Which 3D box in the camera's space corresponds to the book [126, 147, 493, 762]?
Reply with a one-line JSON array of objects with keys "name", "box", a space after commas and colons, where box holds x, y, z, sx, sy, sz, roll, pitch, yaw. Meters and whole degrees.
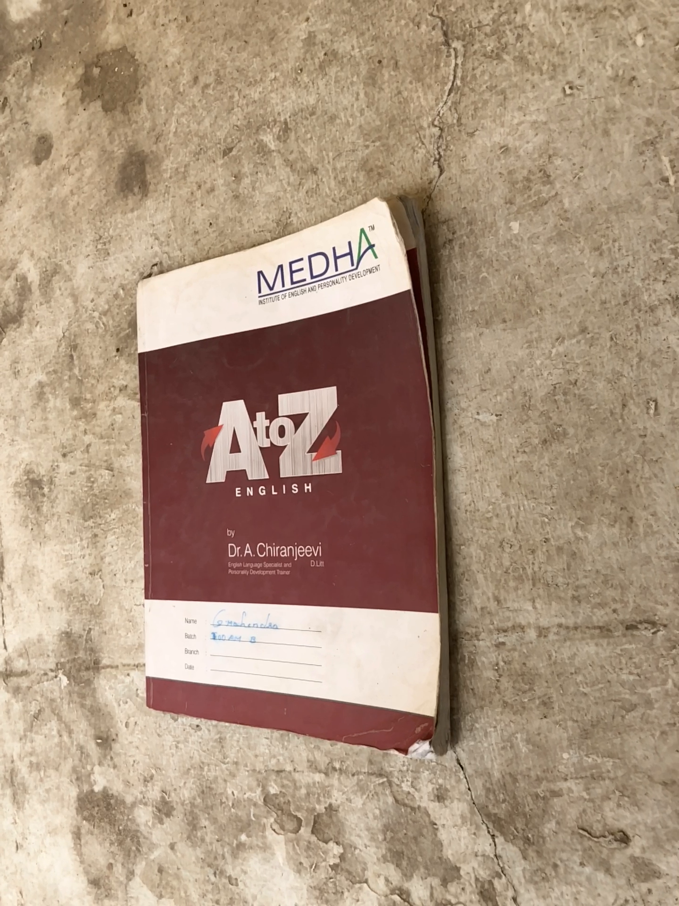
[{"name": "book", "box": [-0.032, 0.005, 0.416, 0.221, 0.030, 0.280, -5, 83, 34]}]
